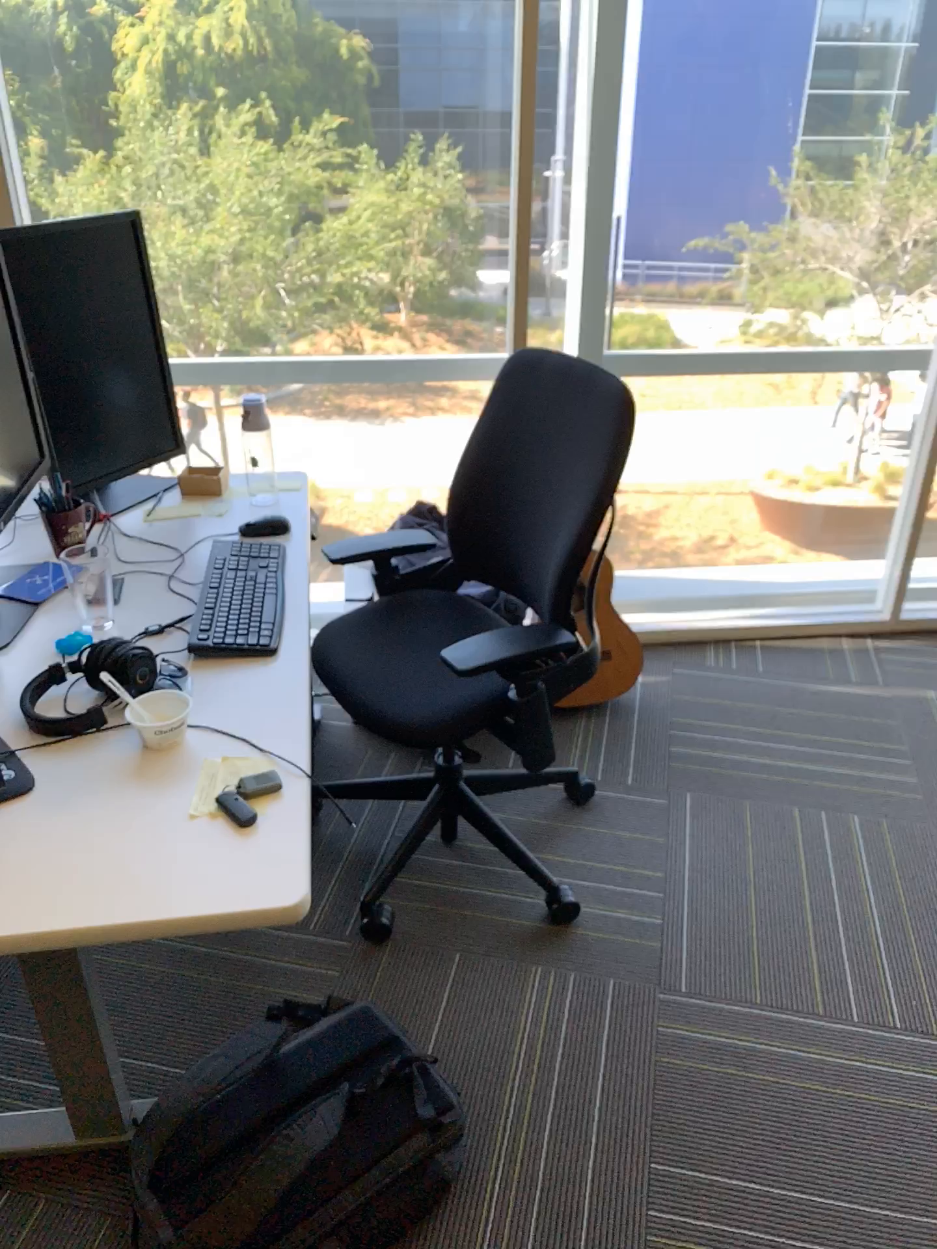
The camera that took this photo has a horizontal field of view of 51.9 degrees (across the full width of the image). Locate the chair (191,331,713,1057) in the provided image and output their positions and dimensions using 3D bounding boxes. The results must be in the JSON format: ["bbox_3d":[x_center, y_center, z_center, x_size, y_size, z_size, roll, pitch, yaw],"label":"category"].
[{"bbox_3d":[-0.054,0.096,2.084,0.691,1.223,0.713,-19,34,-31],"label":"chair"}]
